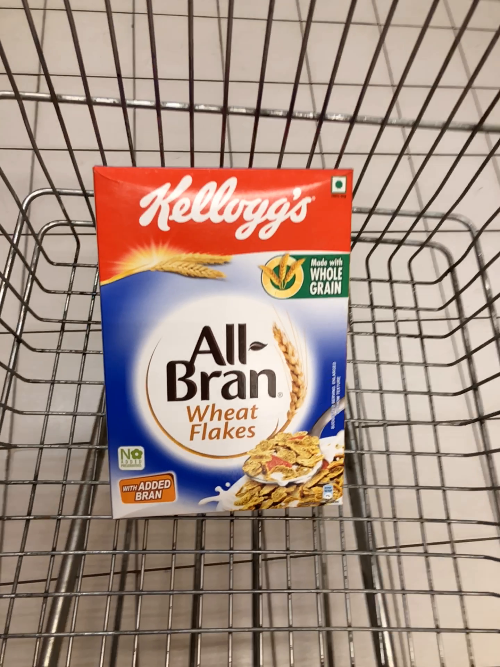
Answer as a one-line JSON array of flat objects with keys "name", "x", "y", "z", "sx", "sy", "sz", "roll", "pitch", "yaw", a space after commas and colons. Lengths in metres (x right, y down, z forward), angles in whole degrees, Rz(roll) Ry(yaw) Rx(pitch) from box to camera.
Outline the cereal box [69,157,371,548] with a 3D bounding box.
[{"name": "cereal box", "x": -0.023, "y": 0.013, "z": 0.417, "sx": 0.190, "sy": 0.080, "sz": 0.269, "roll": -1, "pitch": 104, "yaw": -8}]
